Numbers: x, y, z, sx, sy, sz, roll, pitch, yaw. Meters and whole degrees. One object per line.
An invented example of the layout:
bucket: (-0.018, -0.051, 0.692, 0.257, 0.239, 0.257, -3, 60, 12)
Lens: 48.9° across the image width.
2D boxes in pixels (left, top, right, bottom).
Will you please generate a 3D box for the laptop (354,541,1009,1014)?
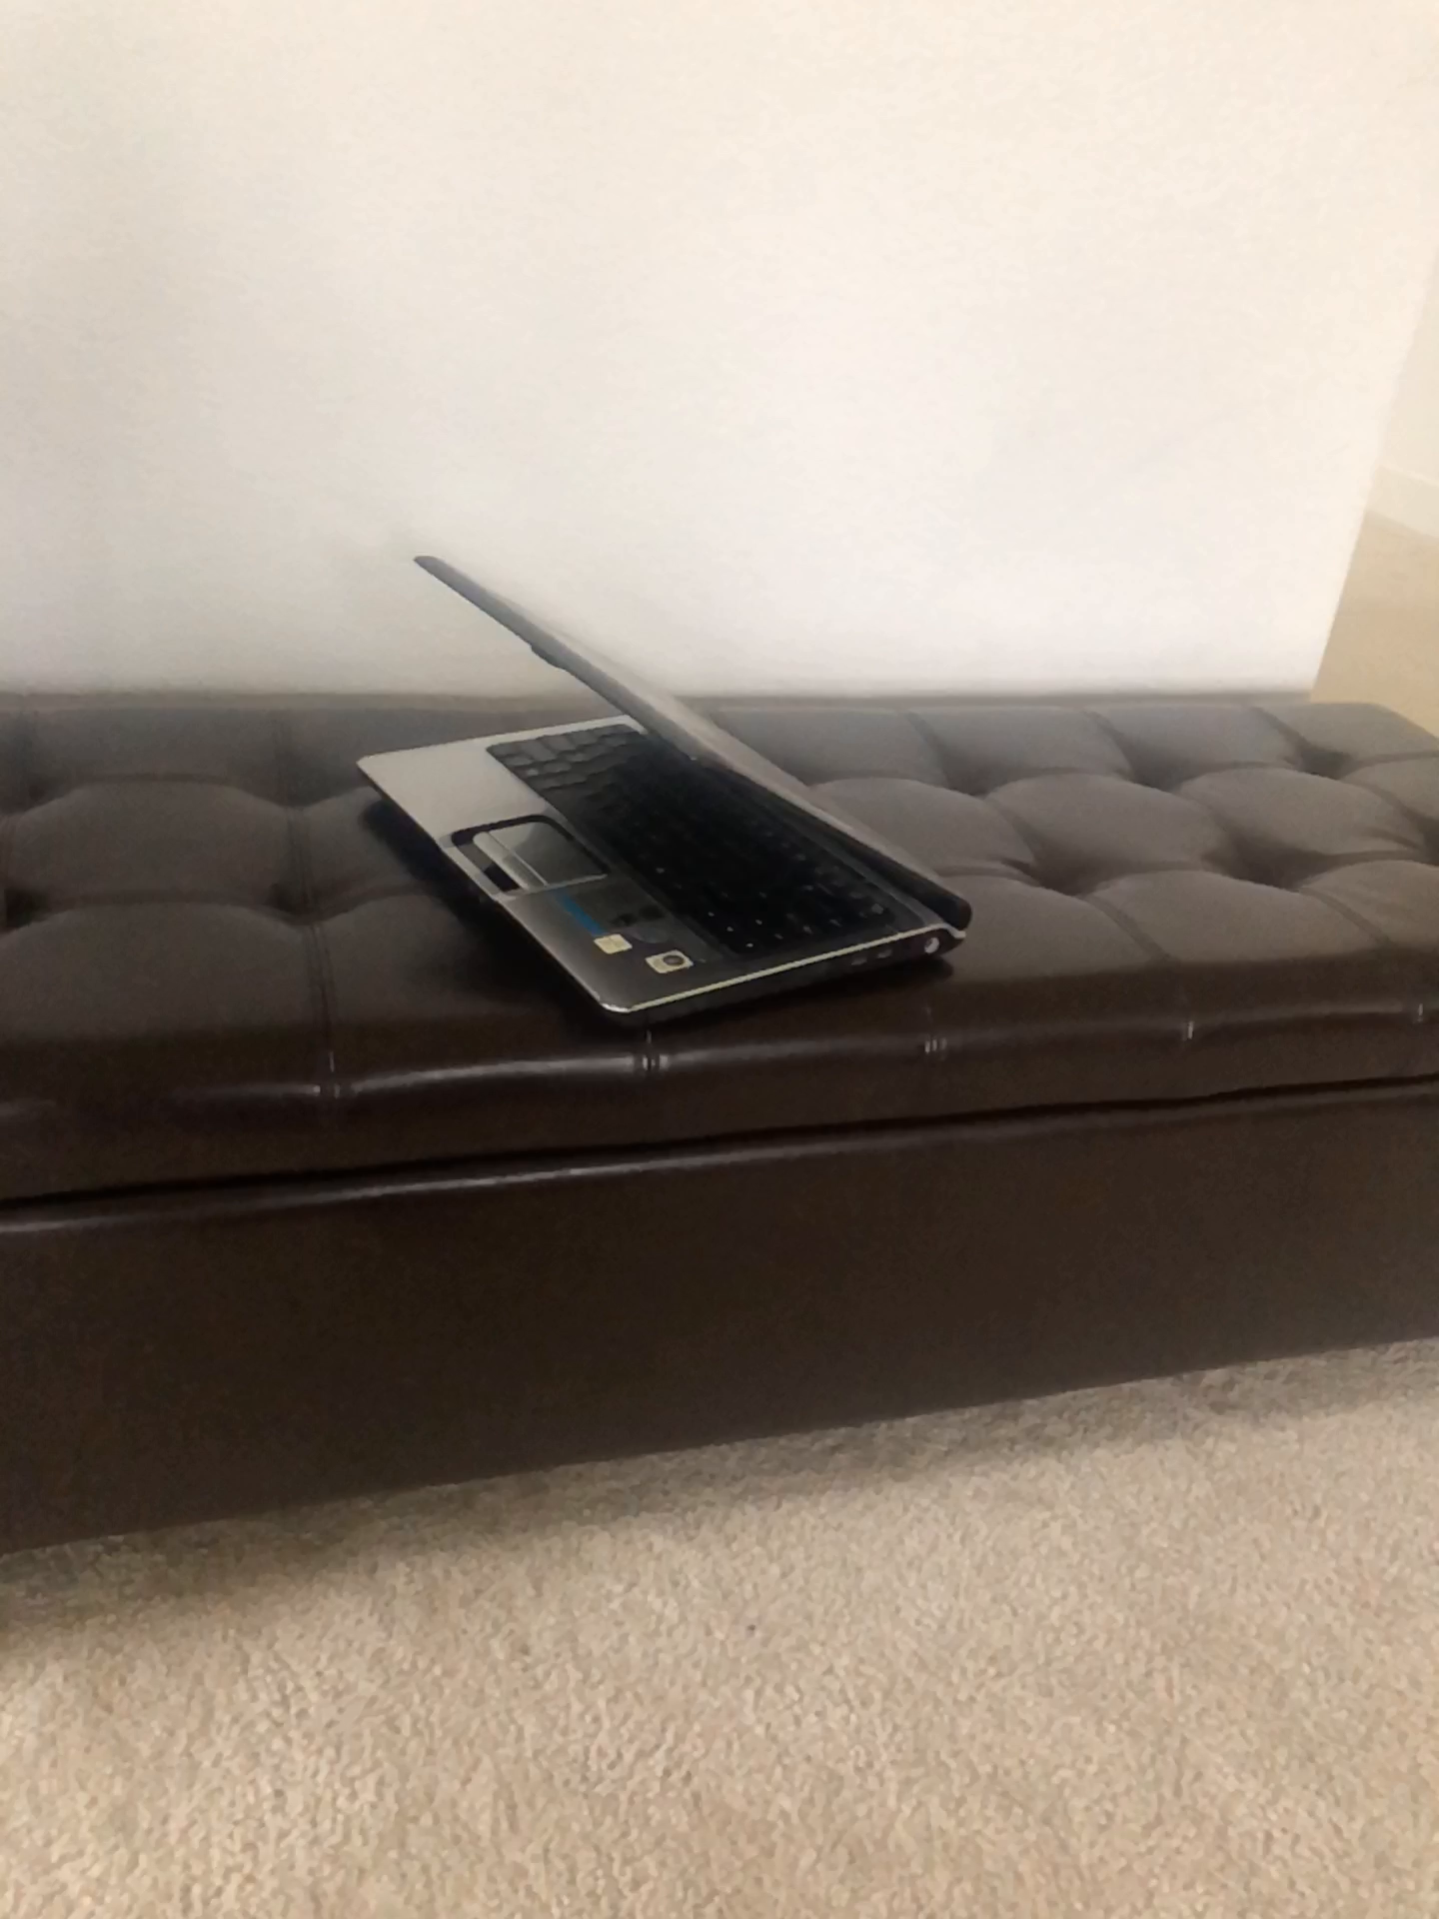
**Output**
laptop: (-0.039, -0.127, 0.906, 0.230, 0.122, 0.334, -13, 34, -31)
